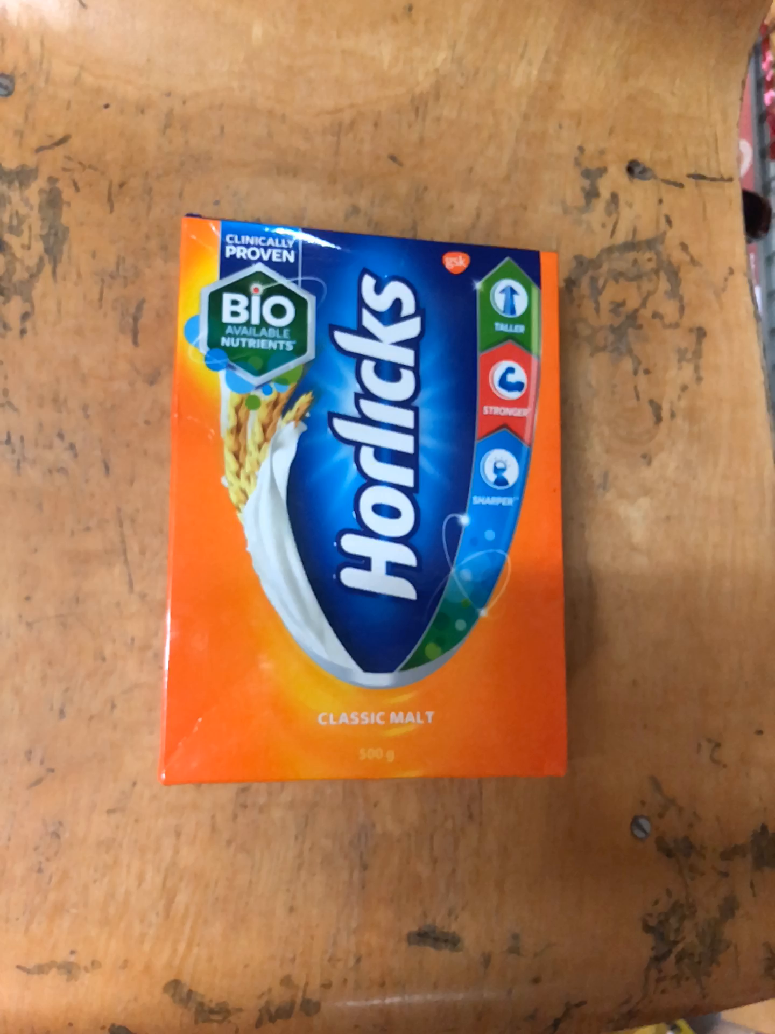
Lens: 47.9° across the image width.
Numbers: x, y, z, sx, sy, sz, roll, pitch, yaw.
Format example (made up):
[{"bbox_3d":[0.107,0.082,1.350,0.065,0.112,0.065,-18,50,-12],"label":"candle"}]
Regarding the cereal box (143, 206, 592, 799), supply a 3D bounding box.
[{"bbox_3d":[-0.009,-0.001,0.316,0.140,0.080,0.180,2,85,-11],"label":"cereal box"}]
